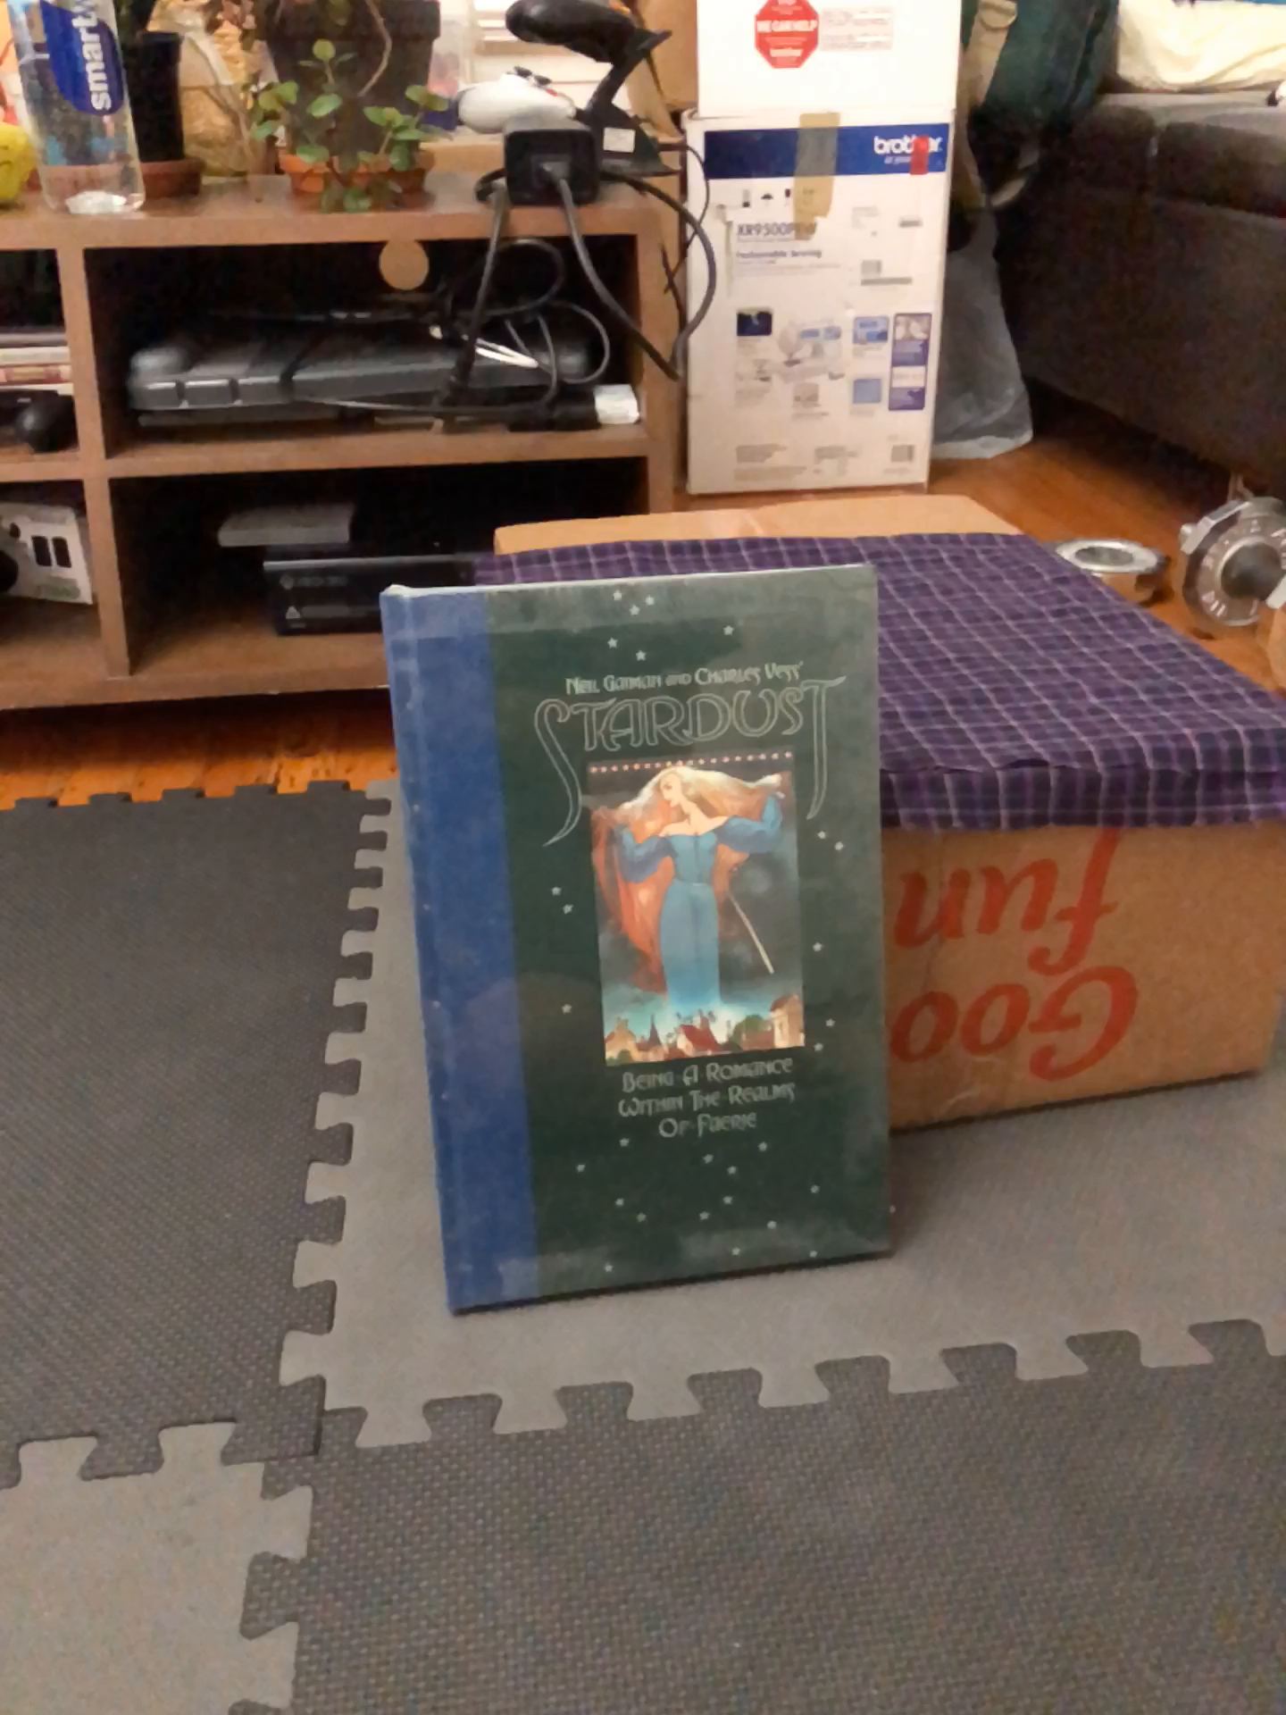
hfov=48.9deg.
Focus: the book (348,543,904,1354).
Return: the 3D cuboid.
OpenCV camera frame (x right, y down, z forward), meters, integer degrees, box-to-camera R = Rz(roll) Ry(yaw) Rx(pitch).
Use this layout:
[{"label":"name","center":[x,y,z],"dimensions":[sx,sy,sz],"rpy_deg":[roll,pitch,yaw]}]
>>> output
[{"label":"book","center":[0.001,0.042,0.601],"dimensions":[0.210,0.329,0.020],"rpy_deg":[-6,12,-7]}]
